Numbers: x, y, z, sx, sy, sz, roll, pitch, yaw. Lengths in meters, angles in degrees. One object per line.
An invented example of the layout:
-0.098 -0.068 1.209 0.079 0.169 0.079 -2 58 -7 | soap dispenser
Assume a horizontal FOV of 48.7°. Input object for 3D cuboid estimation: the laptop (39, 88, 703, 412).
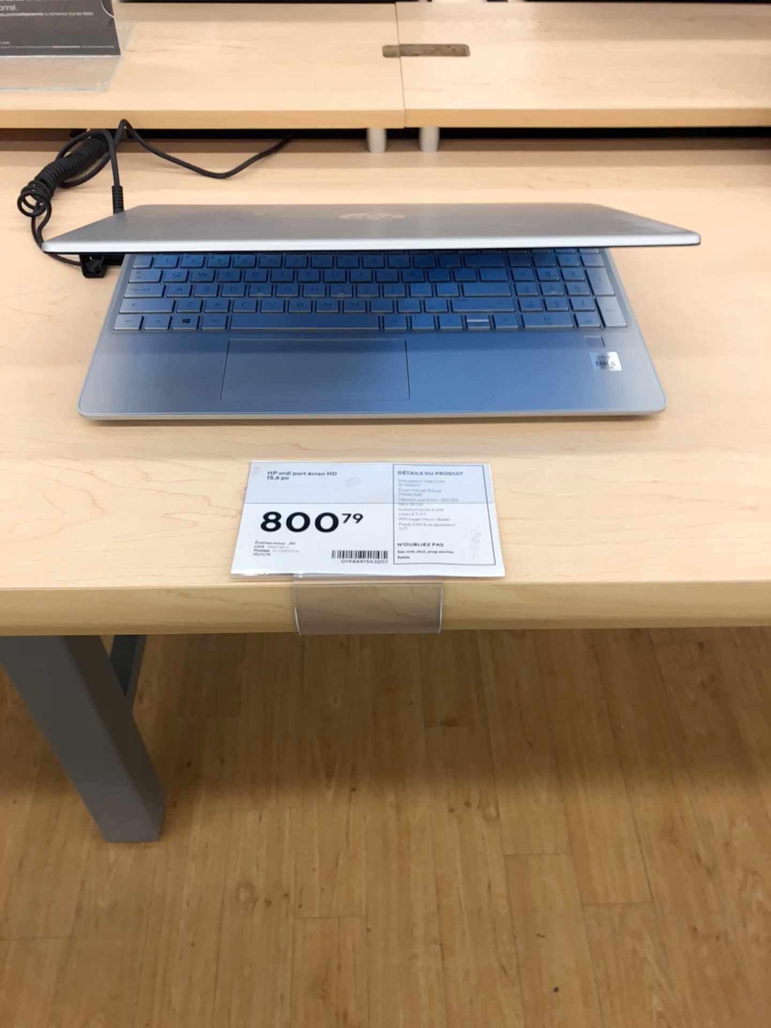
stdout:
-0.007 -0.175 0.540 0.340 0.086 0.224 -1 49 -2 | laptop
